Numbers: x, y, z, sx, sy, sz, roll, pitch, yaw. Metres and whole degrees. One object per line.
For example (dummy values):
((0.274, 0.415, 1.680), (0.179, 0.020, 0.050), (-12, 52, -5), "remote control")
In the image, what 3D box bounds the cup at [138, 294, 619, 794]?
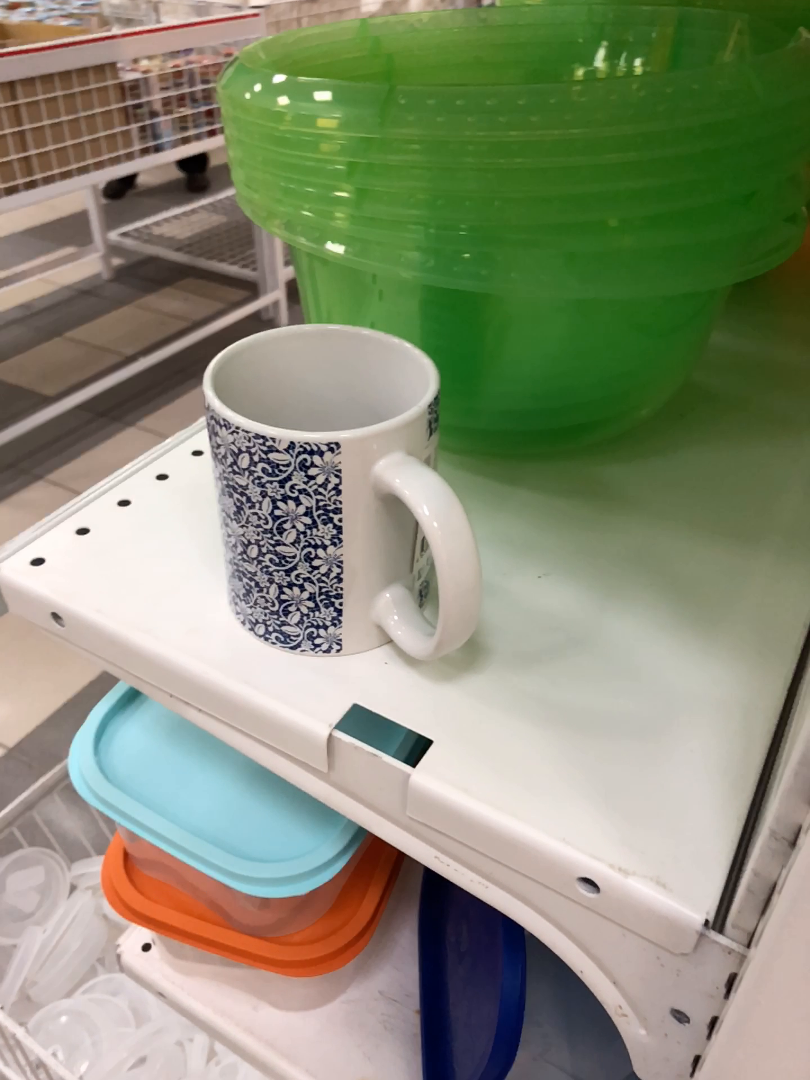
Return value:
((-0.015, -0.010, 0.321), (0.098, 0.098, 0.138), (-22, 42, -28), "cup")
